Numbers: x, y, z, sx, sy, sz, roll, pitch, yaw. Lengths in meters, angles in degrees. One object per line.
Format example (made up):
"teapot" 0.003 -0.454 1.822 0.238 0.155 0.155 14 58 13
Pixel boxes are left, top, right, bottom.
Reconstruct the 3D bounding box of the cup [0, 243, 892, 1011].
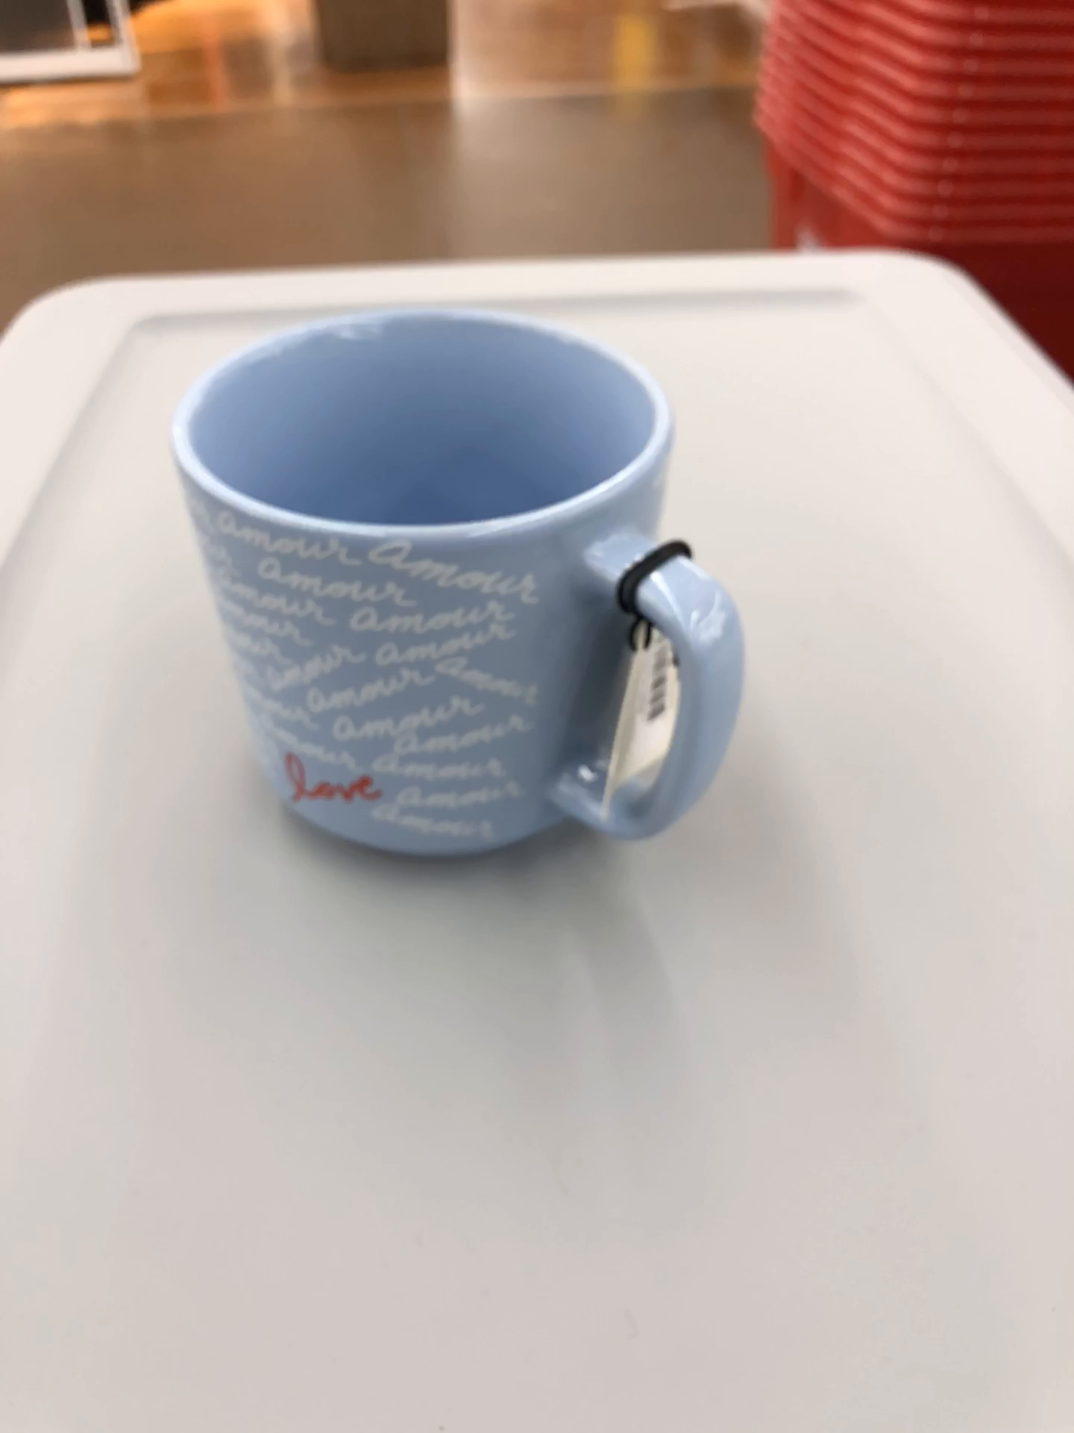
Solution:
"cup" -0.019 -0.031 0.258 0.140 0.080 0.100 27 47 29
